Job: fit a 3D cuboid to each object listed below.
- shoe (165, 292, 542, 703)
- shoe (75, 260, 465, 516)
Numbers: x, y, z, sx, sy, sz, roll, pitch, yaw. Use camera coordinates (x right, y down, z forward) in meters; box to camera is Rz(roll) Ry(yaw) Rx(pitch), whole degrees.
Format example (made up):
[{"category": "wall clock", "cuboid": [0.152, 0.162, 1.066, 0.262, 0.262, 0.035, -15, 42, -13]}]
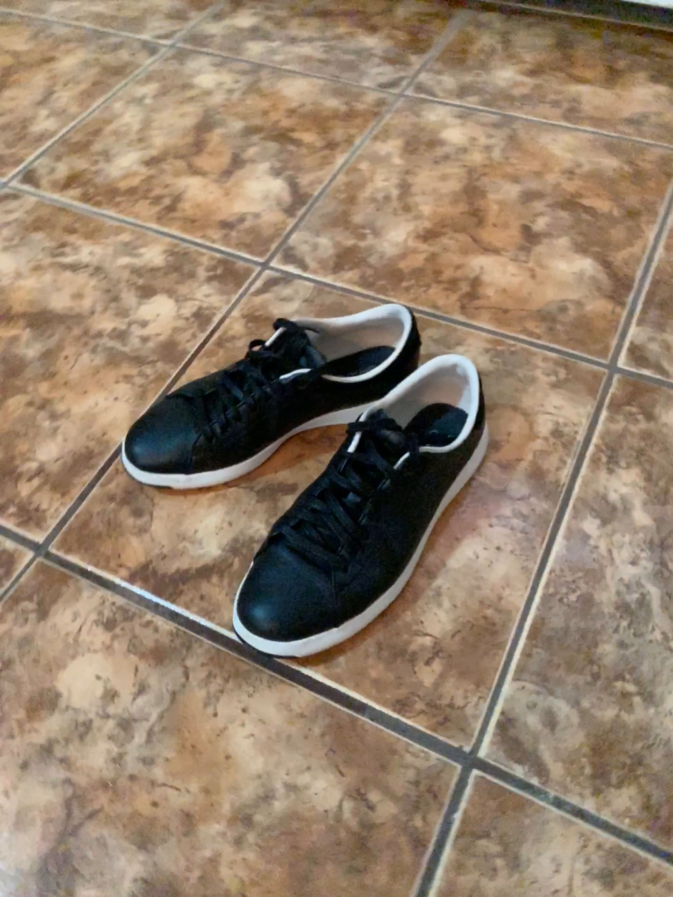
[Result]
[{"category": "shoe", "cuboid": [0.023, 0.023, 0.459, 0.090, 0.103, 0.255, 32, 61, 23]}, {"category": "shoe", "cuboid": [-0.045, -0.046, 0.511, 0.255, 0.093, 0.087, -16, 55, -9]}]
